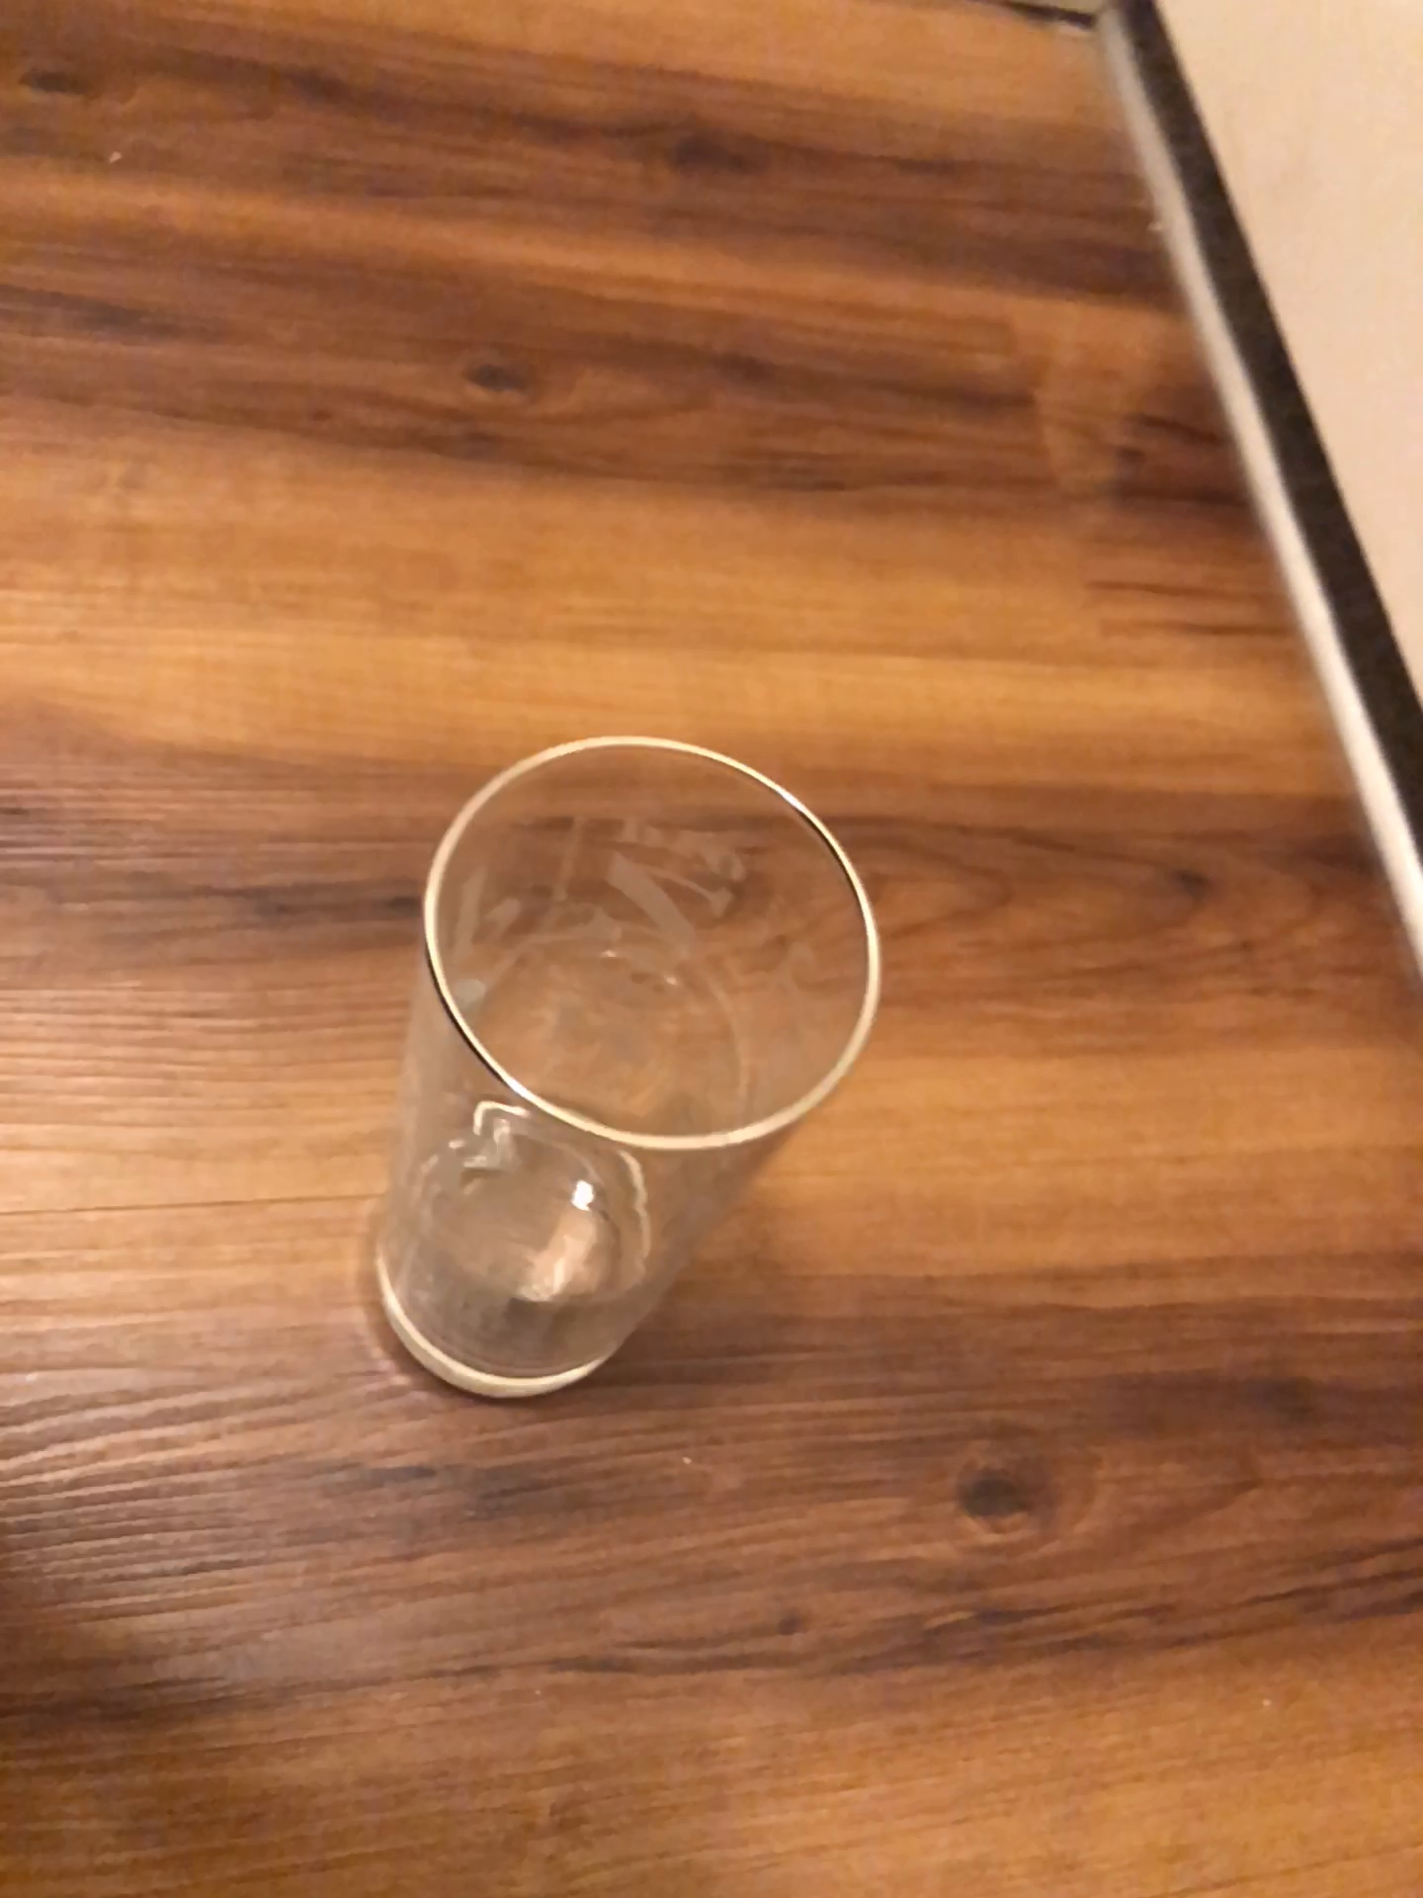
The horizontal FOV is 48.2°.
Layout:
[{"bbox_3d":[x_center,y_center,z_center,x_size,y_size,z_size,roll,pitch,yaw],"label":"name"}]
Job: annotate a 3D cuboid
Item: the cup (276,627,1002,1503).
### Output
[{"bbox_3d":[-0.024,0.032,0.269,0.068,0.150,0.067,7,61,-12],"label":"cup"}]
